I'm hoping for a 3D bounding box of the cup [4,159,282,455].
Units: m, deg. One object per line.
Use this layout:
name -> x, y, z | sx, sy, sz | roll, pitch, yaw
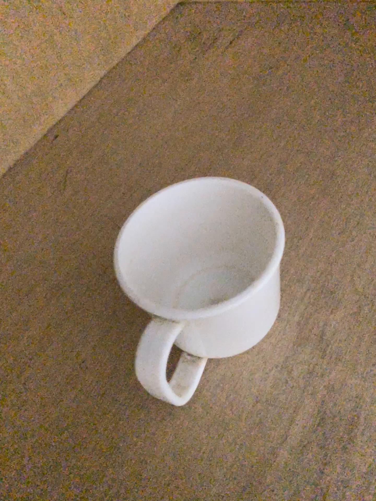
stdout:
cup -> -0.008, 0.021, 0.192 | 0.080, 0.070, 0.110 | 9, 57, 23
